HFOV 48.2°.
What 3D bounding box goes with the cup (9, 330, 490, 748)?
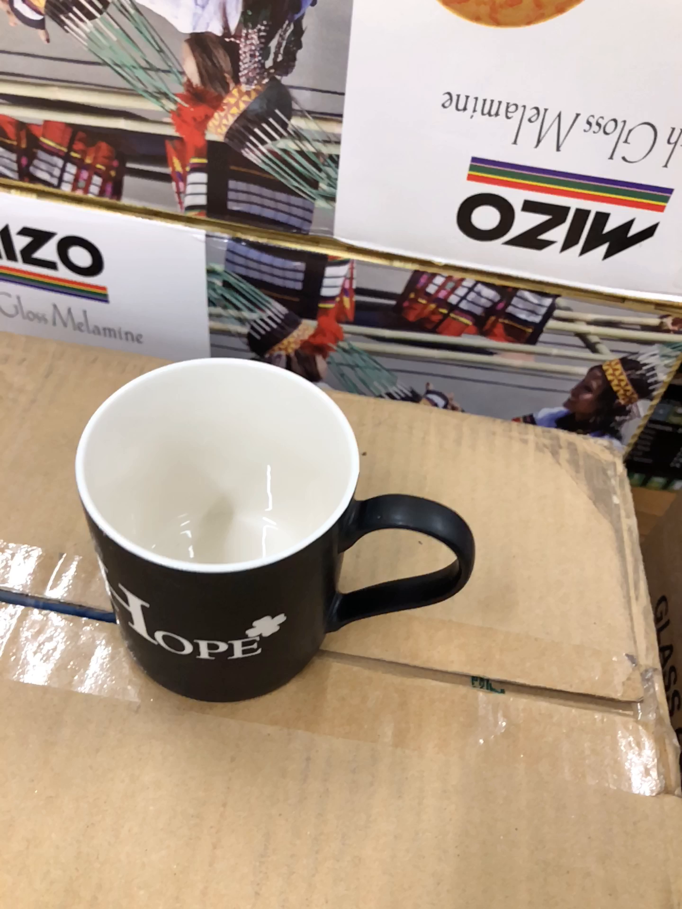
[{"bbox_3d":[-0.023,0.030,0.253,0.120,0.090,0.090,7,50,-2],"label":"cup"}]
